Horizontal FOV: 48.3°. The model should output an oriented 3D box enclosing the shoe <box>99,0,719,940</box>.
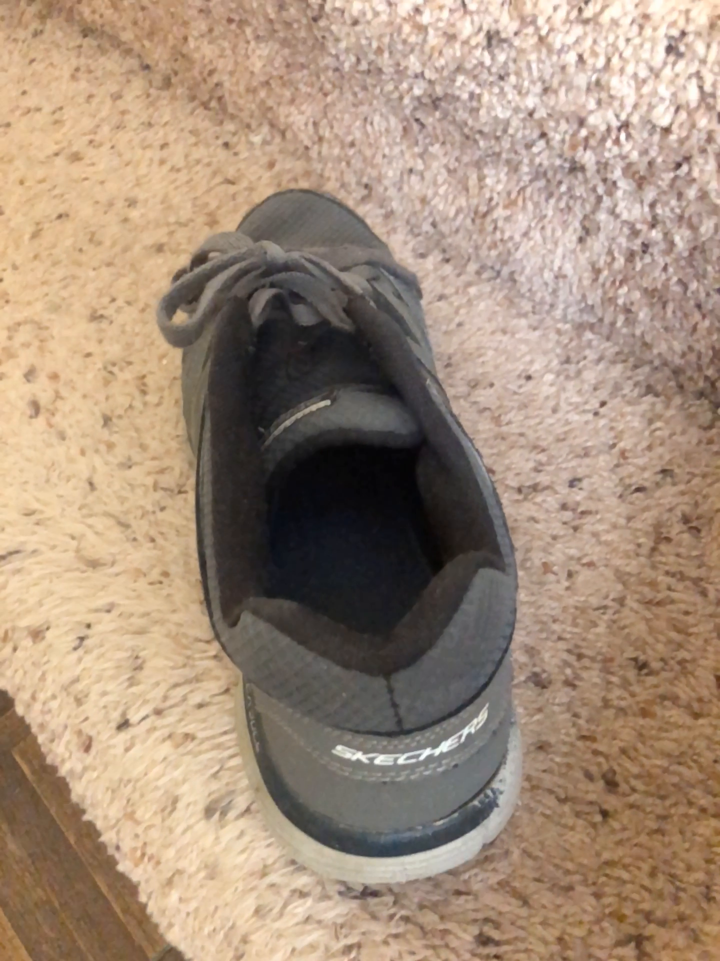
[{"bbox_3d":[-0.012,-0.032,0.278,0.110,0.140,0.300,-10,52,-4],"label":"shoe"}]
